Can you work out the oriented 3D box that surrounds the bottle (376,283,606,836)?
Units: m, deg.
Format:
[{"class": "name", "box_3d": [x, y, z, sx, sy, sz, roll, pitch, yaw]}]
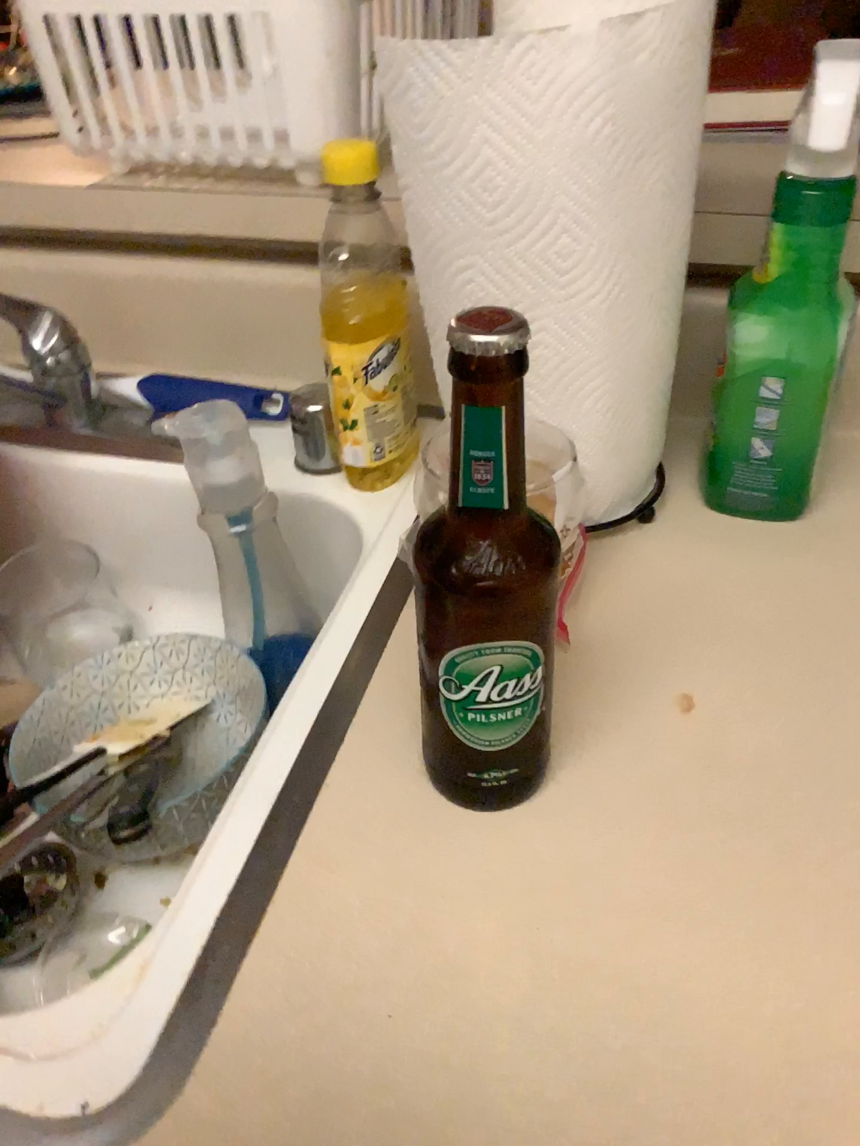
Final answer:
[{"class": "bottle", "box_3d": [0.022, 0.007, 0.391, 0.070, 0.230, 0.060, -5, 37, -2]}]
